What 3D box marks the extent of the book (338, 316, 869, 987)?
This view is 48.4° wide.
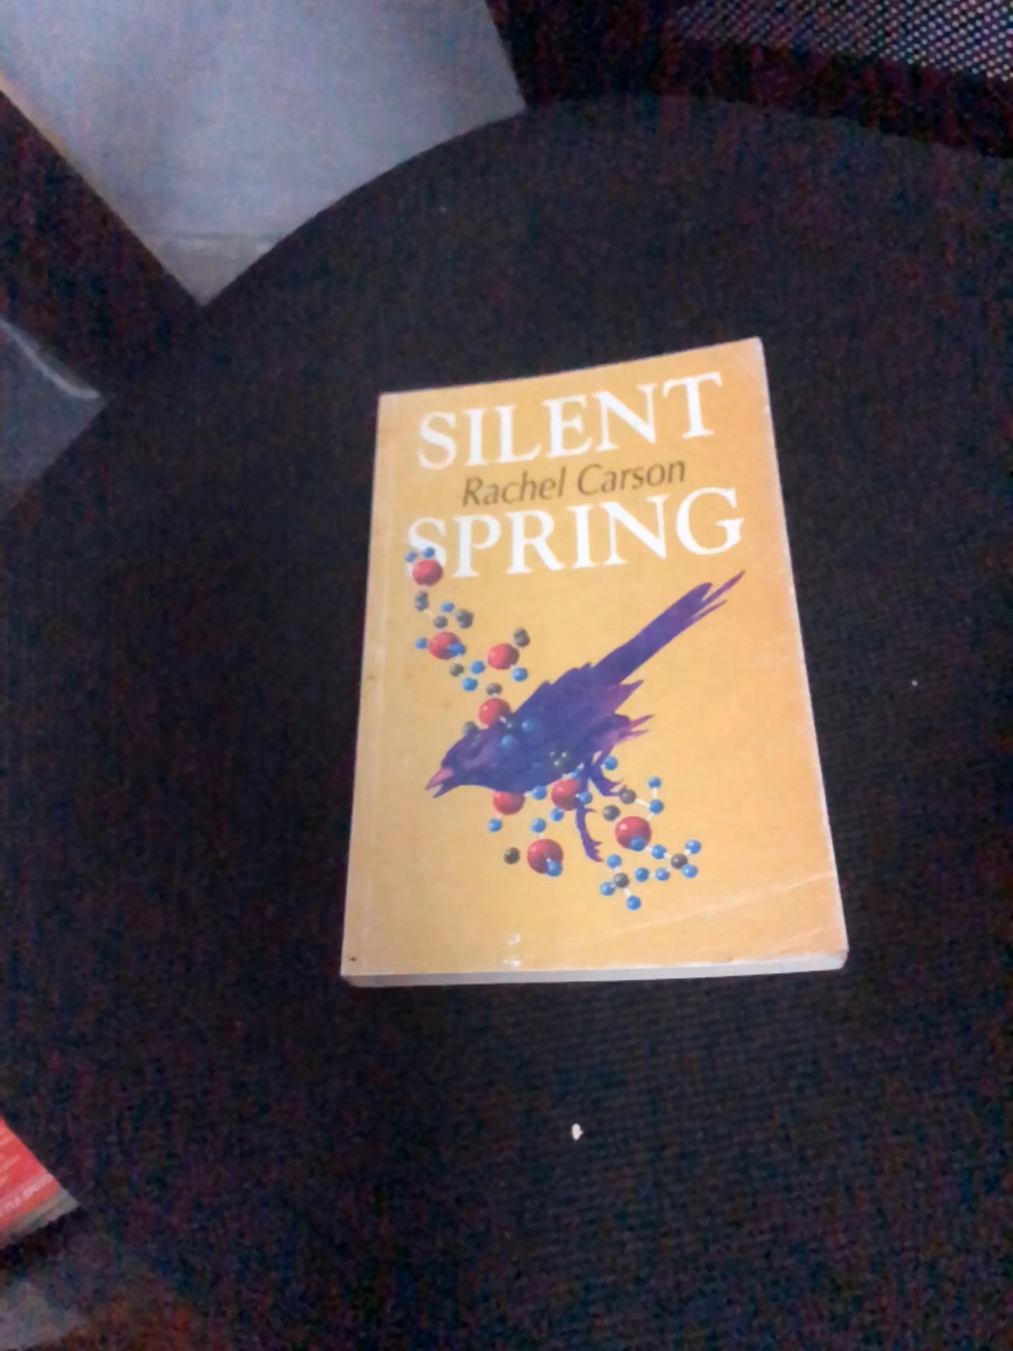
[{"bbox_3d":[0.026,-0.014,0.378,0.150,0.030,0.220,-6,63,11],"label":"book"}]
